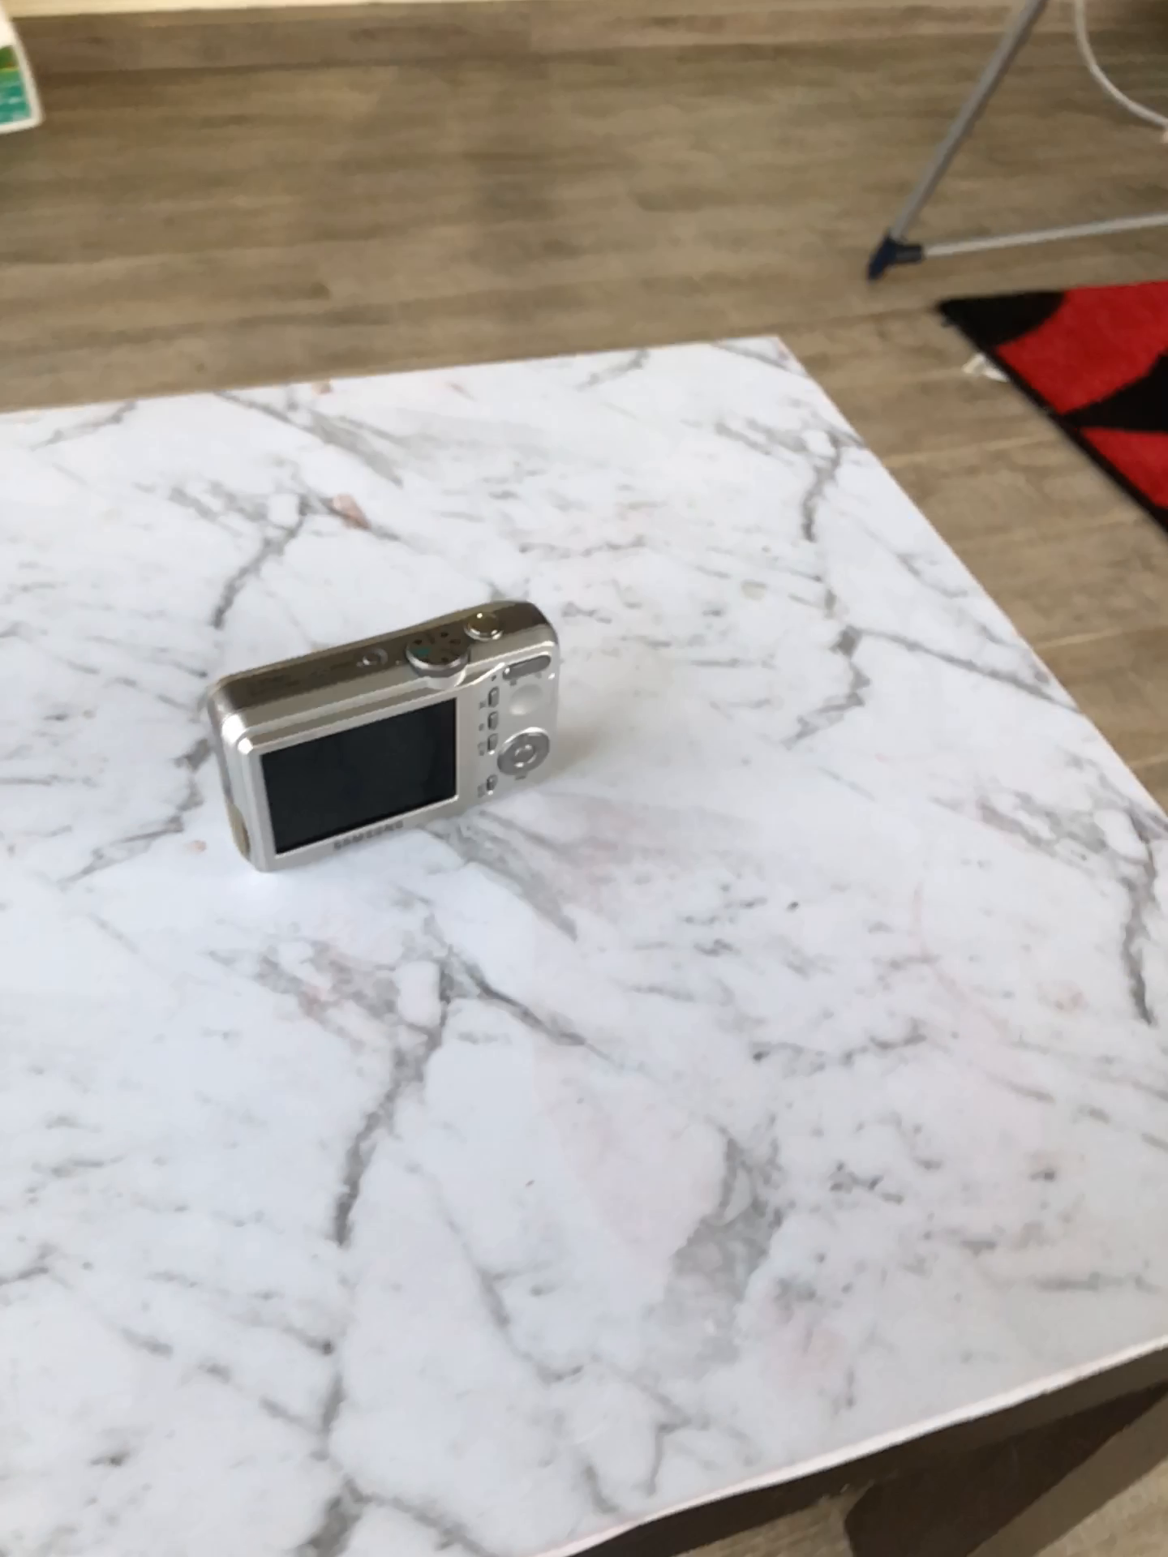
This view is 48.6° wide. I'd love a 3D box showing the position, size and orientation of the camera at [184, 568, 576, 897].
[{"bbox_3d":[-0.056,-0.014,0.371,0.099,0.061,0.034,-19,51,-22],"label":"camera"}]
